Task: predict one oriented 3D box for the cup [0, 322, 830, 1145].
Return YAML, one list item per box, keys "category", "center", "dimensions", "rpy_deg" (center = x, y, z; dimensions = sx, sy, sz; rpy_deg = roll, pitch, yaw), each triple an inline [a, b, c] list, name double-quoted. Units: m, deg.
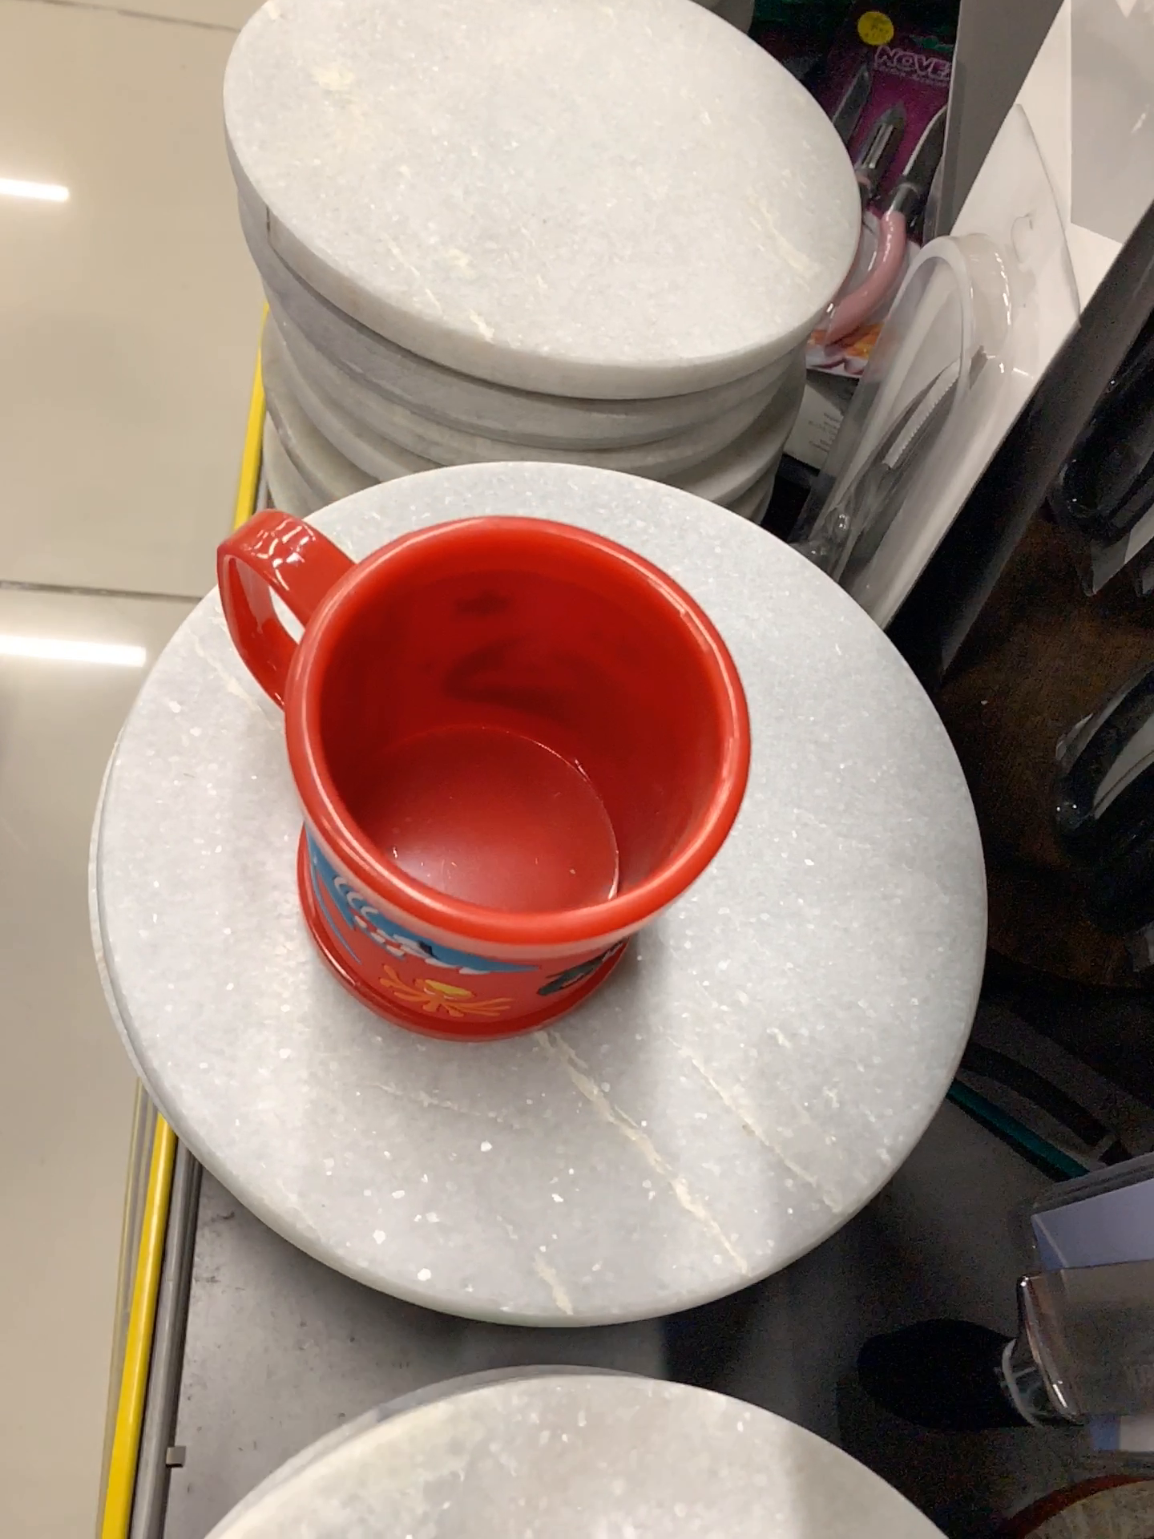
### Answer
- category: "cup"
  center: [-0.034, -0.002, 0.248]
  dimensions: [0.120, 0.100, 0.080]
  rpy_deg: [40, 63, 10]
